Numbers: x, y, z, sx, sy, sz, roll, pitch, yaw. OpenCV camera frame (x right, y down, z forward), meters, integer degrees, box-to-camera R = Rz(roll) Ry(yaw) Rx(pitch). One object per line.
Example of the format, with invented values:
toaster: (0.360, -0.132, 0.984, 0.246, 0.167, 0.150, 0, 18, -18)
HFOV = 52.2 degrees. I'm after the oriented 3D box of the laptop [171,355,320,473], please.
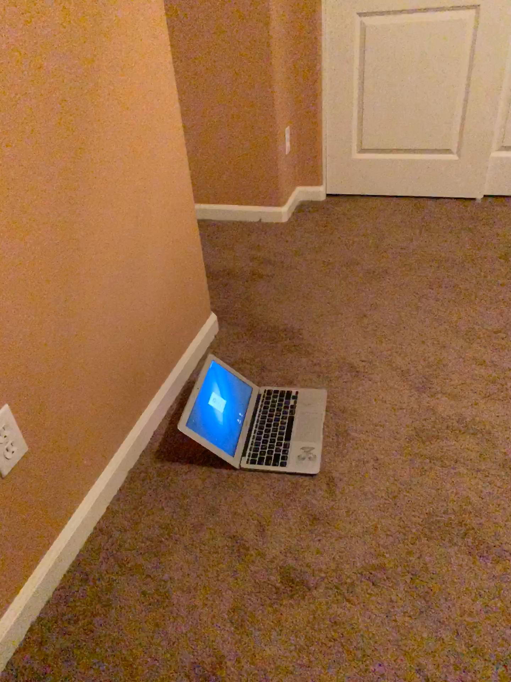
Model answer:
laptop: (-0.007, 0.171, 1.331, 0.324, 0.116, 0.300, 1, 33, 11)
